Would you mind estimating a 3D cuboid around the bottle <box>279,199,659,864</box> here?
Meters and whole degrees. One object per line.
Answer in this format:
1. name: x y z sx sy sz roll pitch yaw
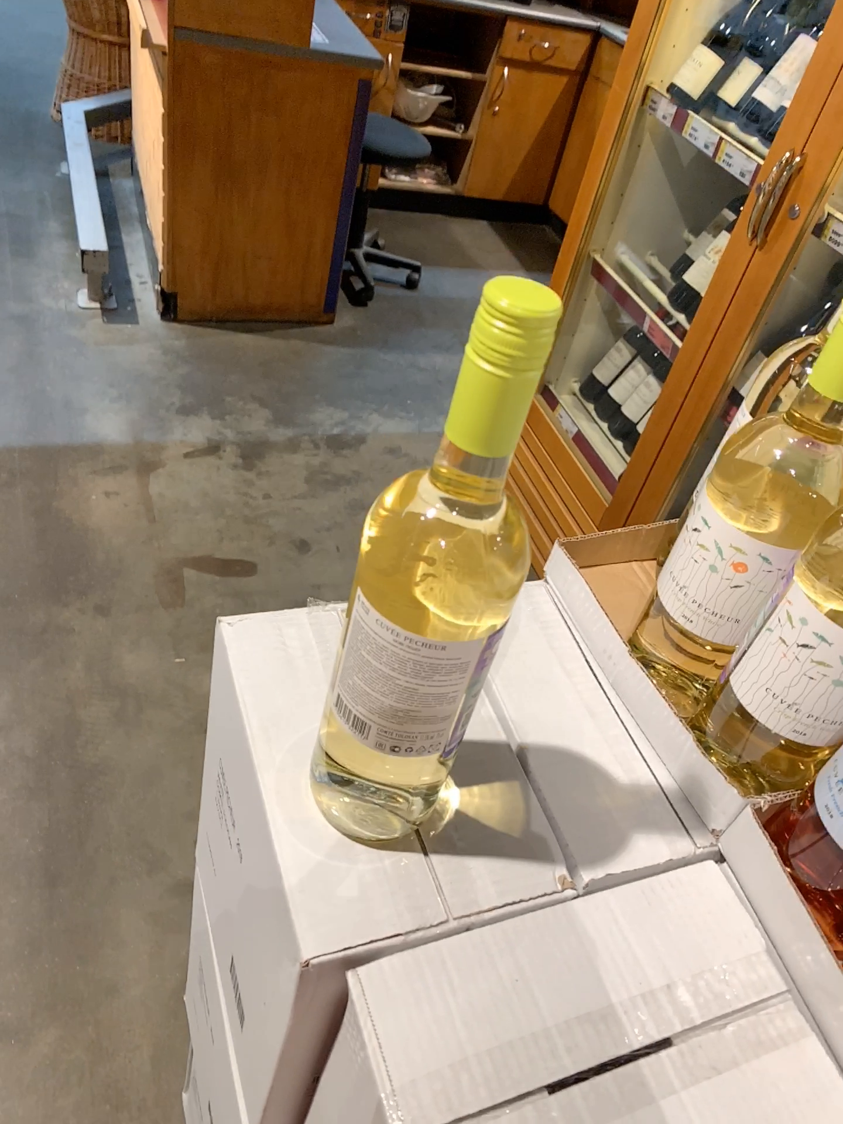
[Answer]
1. bottle: 0.005 0.011 0.394 0.090 0.298 0.091 9 41 -8
